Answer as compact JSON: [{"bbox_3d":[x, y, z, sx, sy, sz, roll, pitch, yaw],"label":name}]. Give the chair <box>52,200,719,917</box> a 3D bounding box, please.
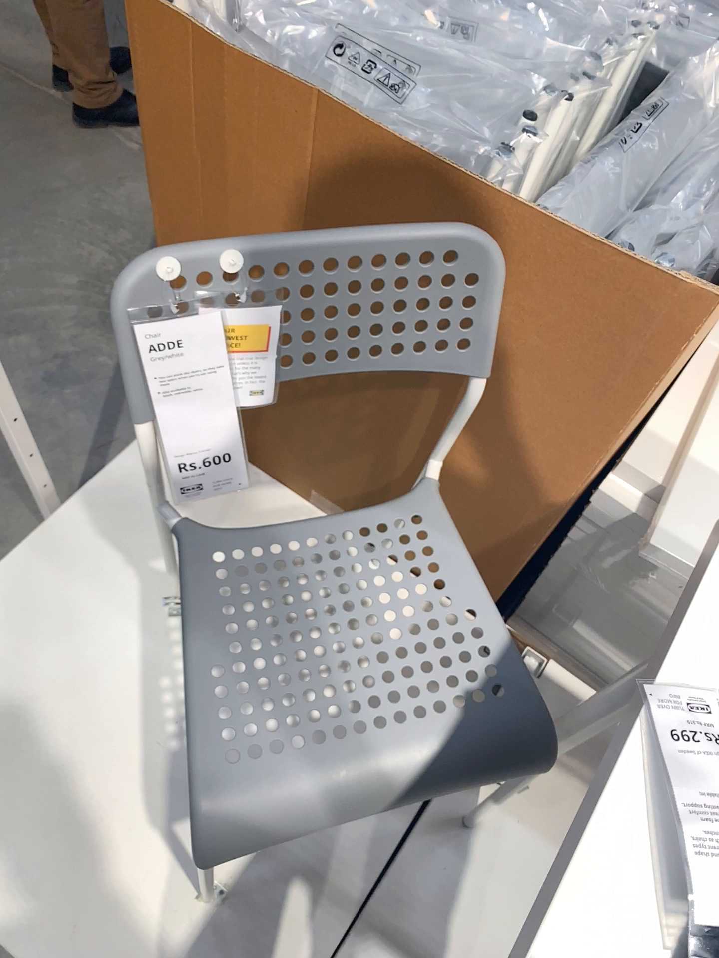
[{"bbox_3d":[-0.020,0.147,0.847,0.460,0.689,0.501,-9,60,-14],"label":"chair"}]
